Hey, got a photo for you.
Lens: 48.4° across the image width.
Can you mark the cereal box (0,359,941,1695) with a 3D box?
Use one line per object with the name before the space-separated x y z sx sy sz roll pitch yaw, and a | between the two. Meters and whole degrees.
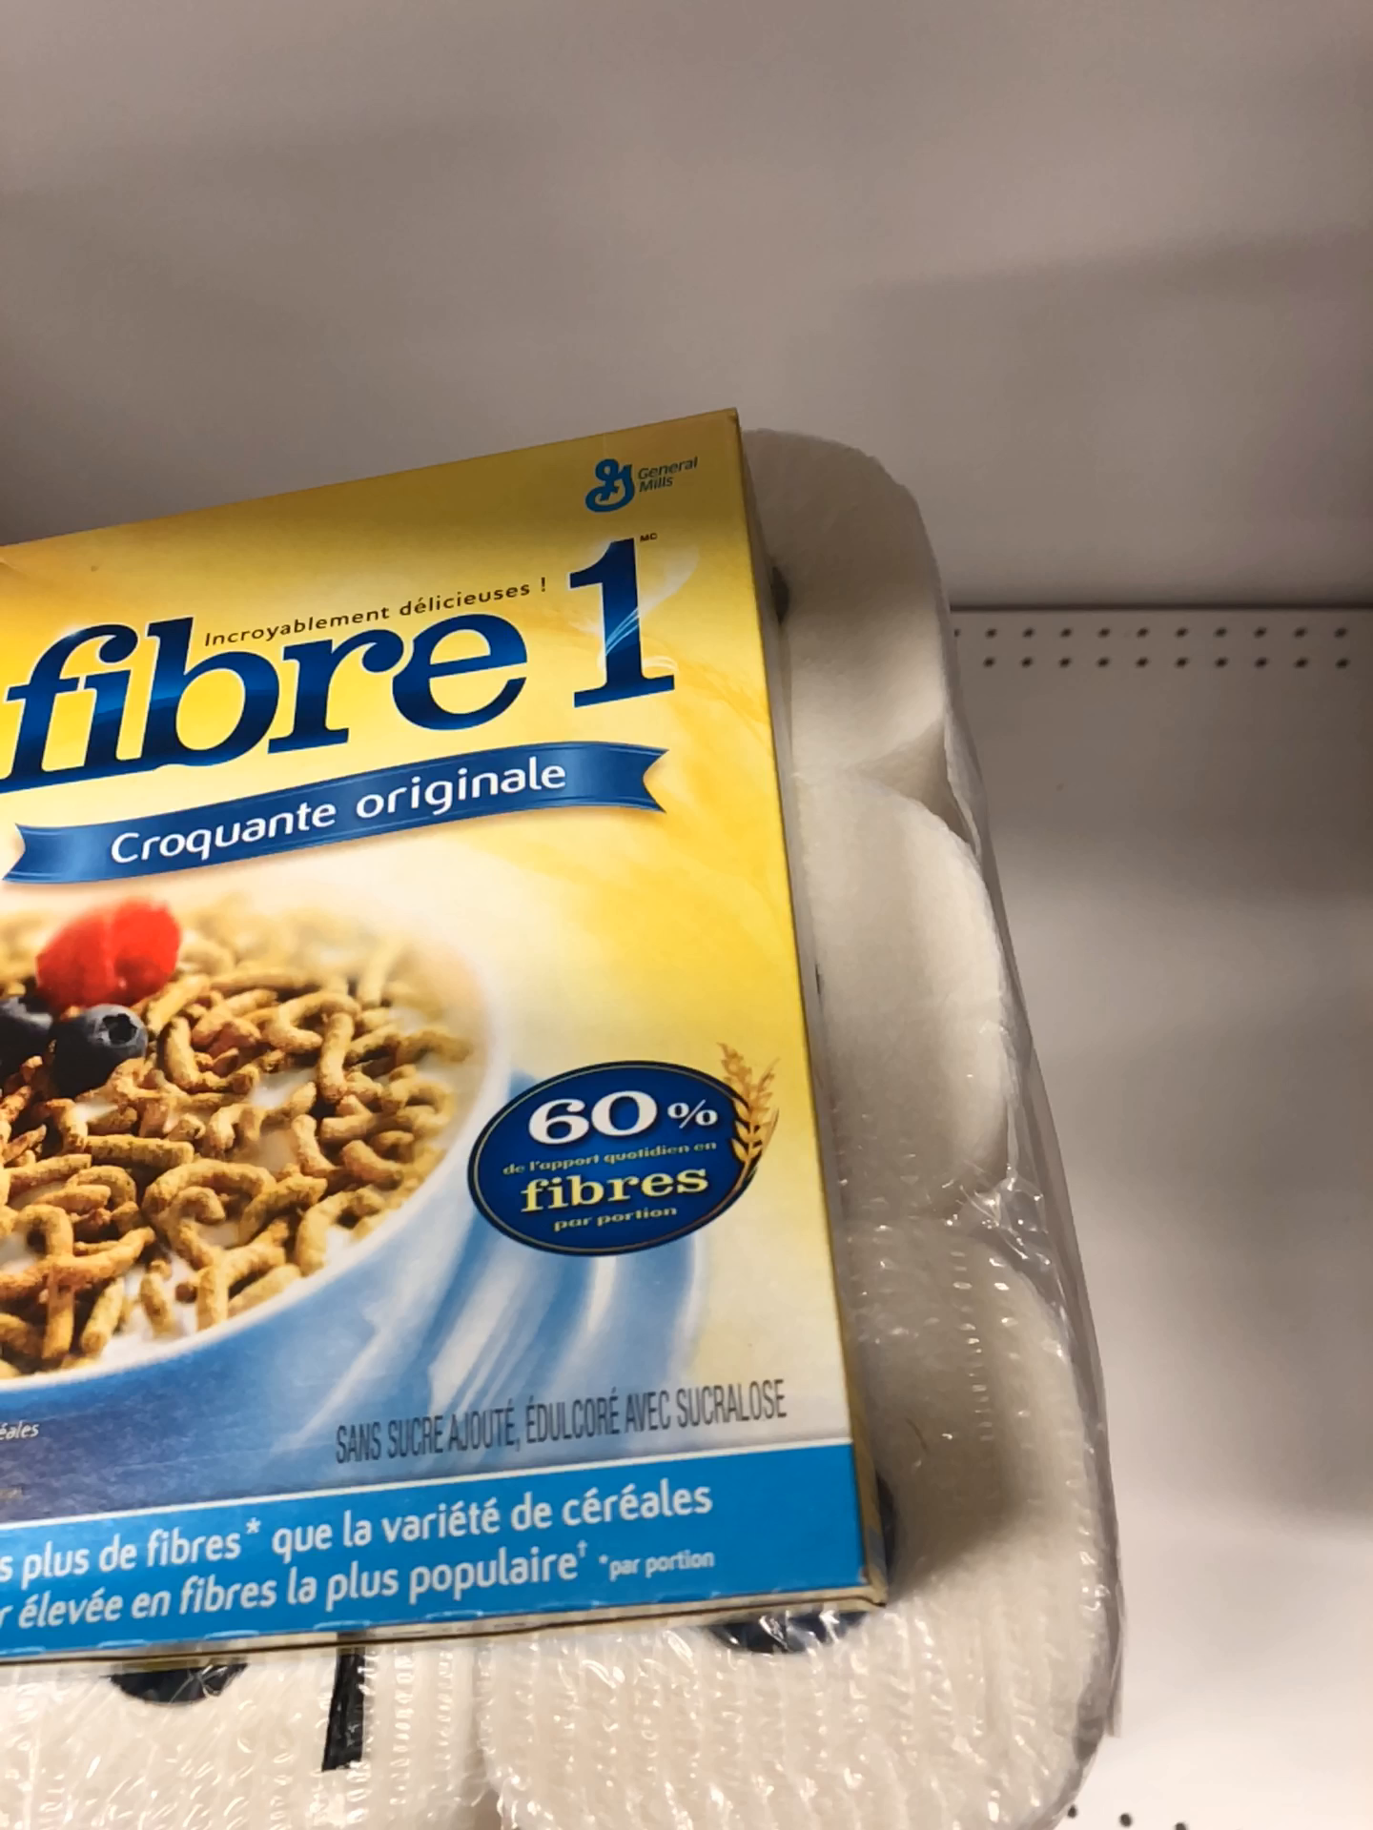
cereal box | -0.064 0.016 0.330 0.200 0.060 0.260 -8 63 8
